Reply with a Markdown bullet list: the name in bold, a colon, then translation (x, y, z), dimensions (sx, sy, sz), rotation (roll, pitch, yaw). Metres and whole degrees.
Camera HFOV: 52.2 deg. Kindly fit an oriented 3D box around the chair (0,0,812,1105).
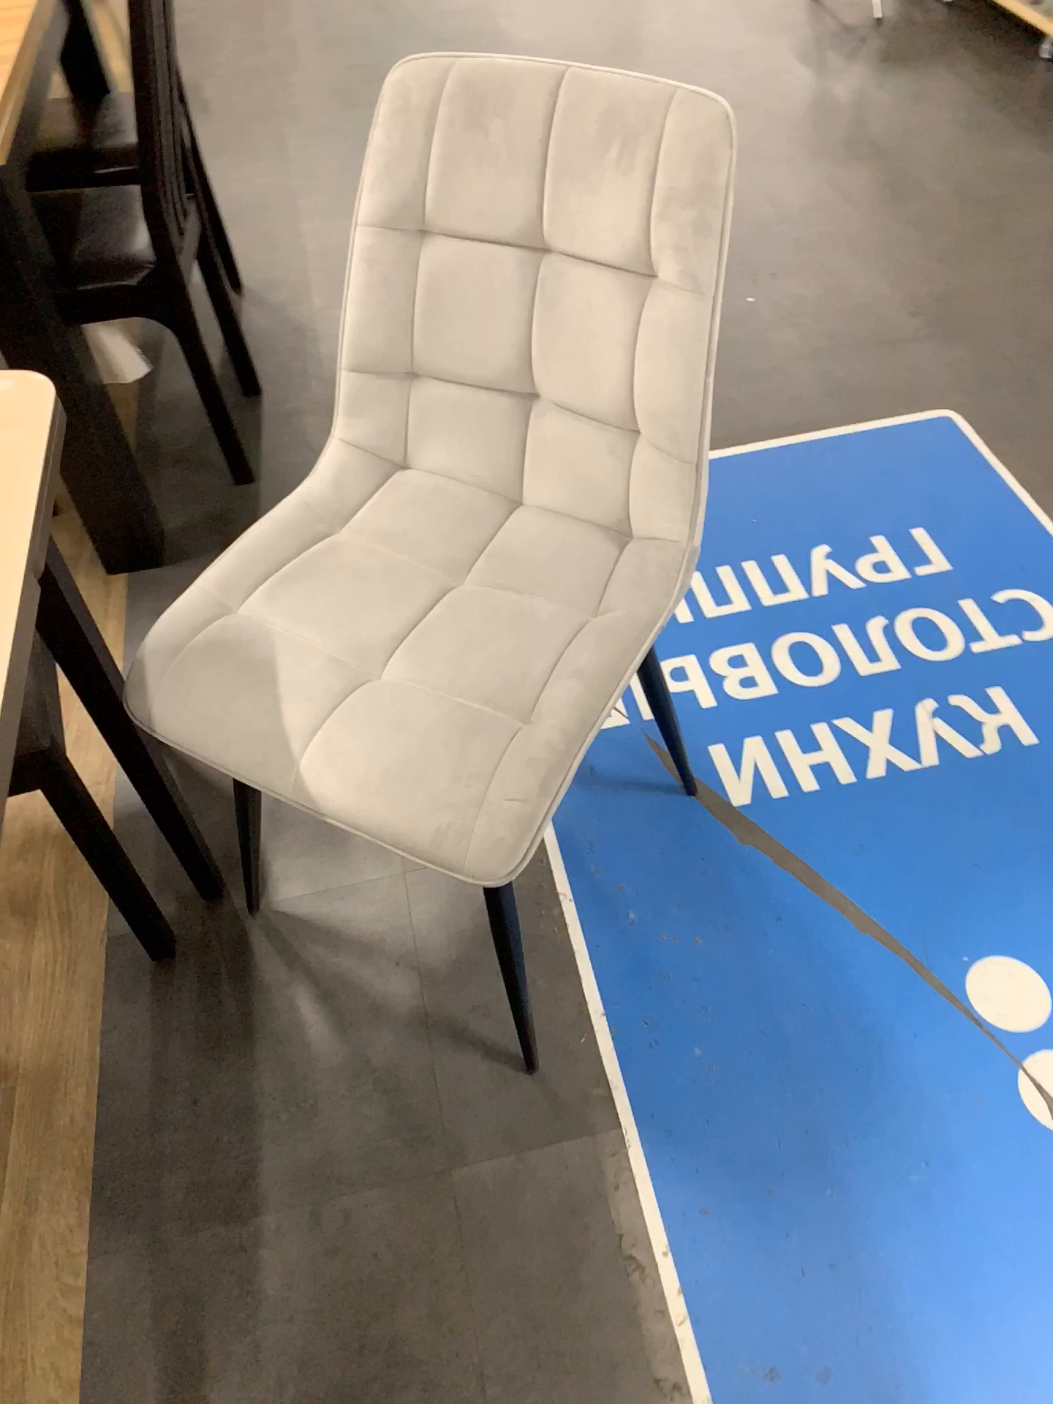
- **chair**: translation (-0.088, -0.118, 1.192), dimensions (0.481, 0.975, 0.602), rotation (22, 54, 23)
